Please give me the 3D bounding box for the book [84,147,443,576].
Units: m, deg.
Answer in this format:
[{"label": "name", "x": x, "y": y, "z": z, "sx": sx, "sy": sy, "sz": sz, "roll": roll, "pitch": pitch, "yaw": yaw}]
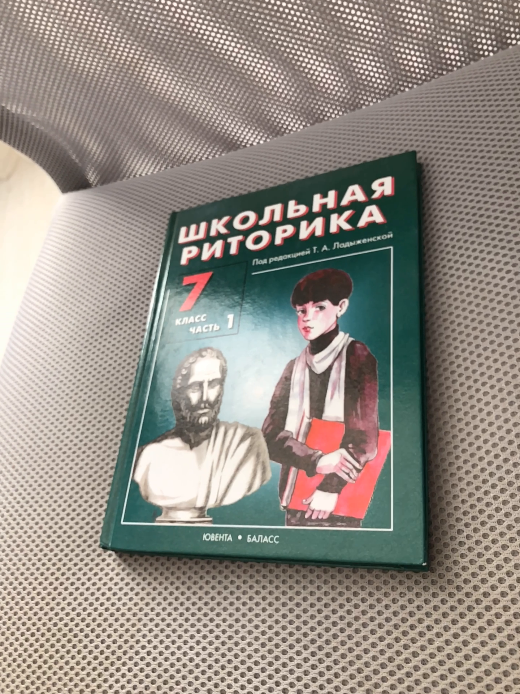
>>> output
[{"label": "book", "x": 0.004, "y": 0.004, "z": 0.309, "sx": 0.167, "sy": 0.030, "sz": 0.211, "roll": -8, "pitch": 61, "yaw": 25}]
